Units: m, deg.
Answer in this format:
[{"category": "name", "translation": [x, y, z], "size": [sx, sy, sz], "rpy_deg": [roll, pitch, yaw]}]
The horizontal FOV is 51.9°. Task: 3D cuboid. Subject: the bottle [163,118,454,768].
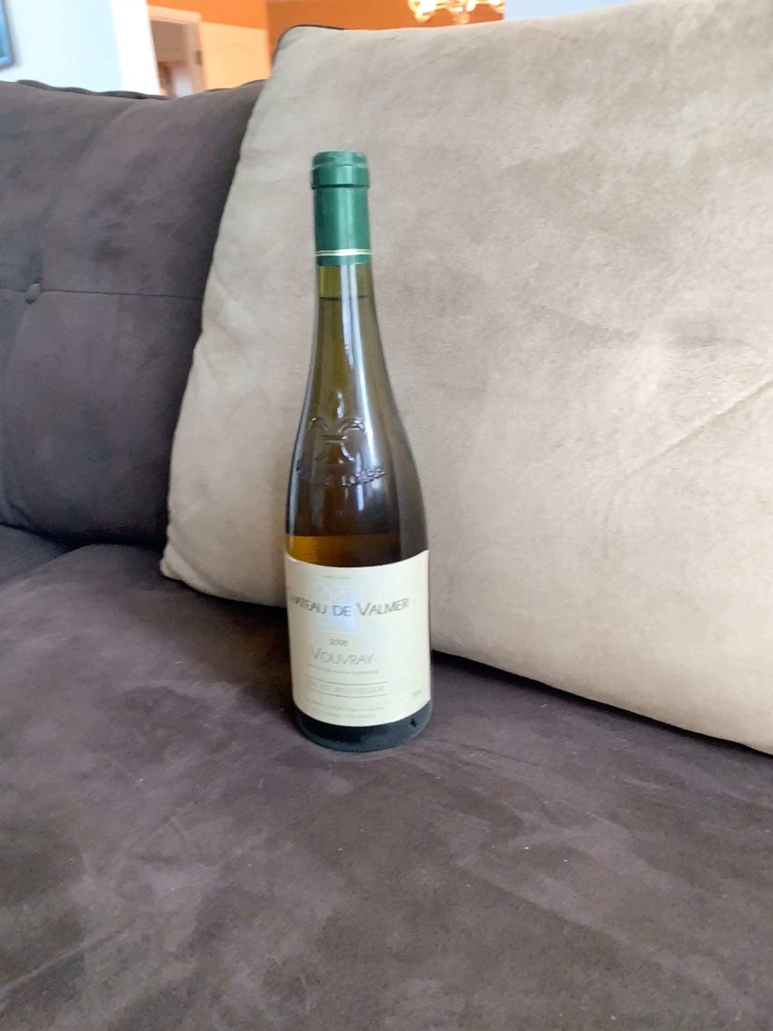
[{"category": "bottle", "translation": [-0.025, -0.029, 0.416], "size": [0.100, 0.309, 0.090], "rpy_deg": [2, 22, 14]}]
